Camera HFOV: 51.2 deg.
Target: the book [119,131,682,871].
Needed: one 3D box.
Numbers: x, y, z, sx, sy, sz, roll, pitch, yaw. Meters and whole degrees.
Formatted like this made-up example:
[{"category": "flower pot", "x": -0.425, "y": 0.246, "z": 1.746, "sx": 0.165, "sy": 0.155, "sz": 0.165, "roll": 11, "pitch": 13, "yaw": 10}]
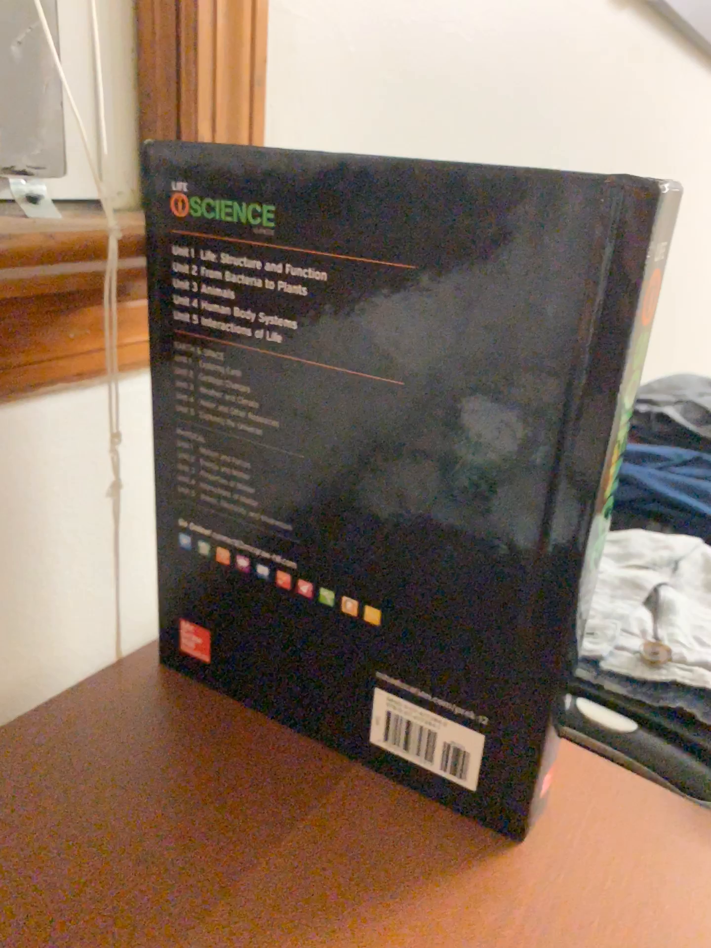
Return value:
[{"category": "book", "x": -0.005, "y": 0.004, "z": 0.345, "sx": 0.226, "sy": 0.286, "sz": 0.051, "roll": 17, "pitch": 25, "yaw": 28}]
